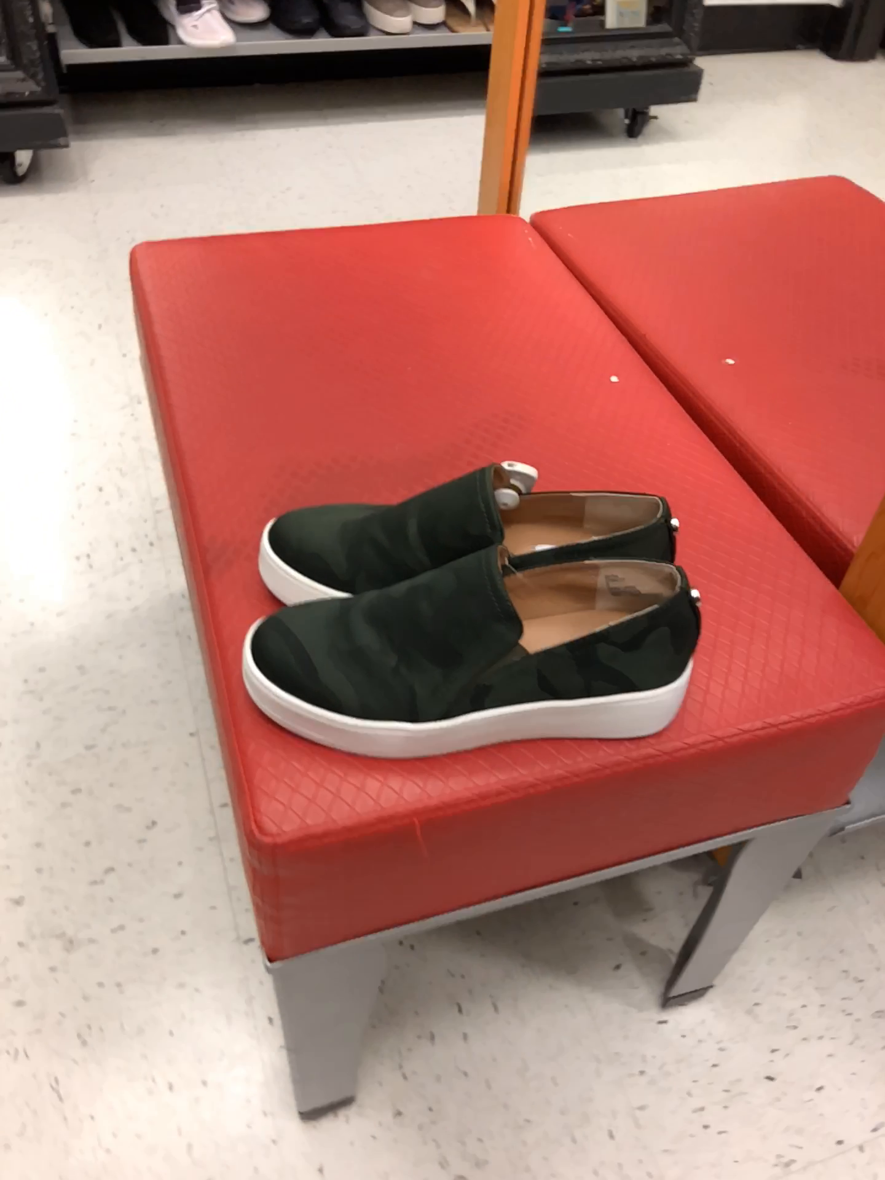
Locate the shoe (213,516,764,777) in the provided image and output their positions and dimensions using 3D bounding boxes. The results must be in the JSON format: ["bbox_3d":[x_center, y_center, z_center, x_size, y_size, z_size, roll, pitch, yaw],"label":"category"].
[{"bbox_3d":[0.019,0.029,0.550,0.276,0.086,0.106,-2,44,-6],"label":"shoe"}]

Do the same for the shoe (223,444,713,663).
[{"bbox_3d":[0.014,-0.022,0.605,0.276,0.086,0.077,4,44,0],"label":"shoe"}]
